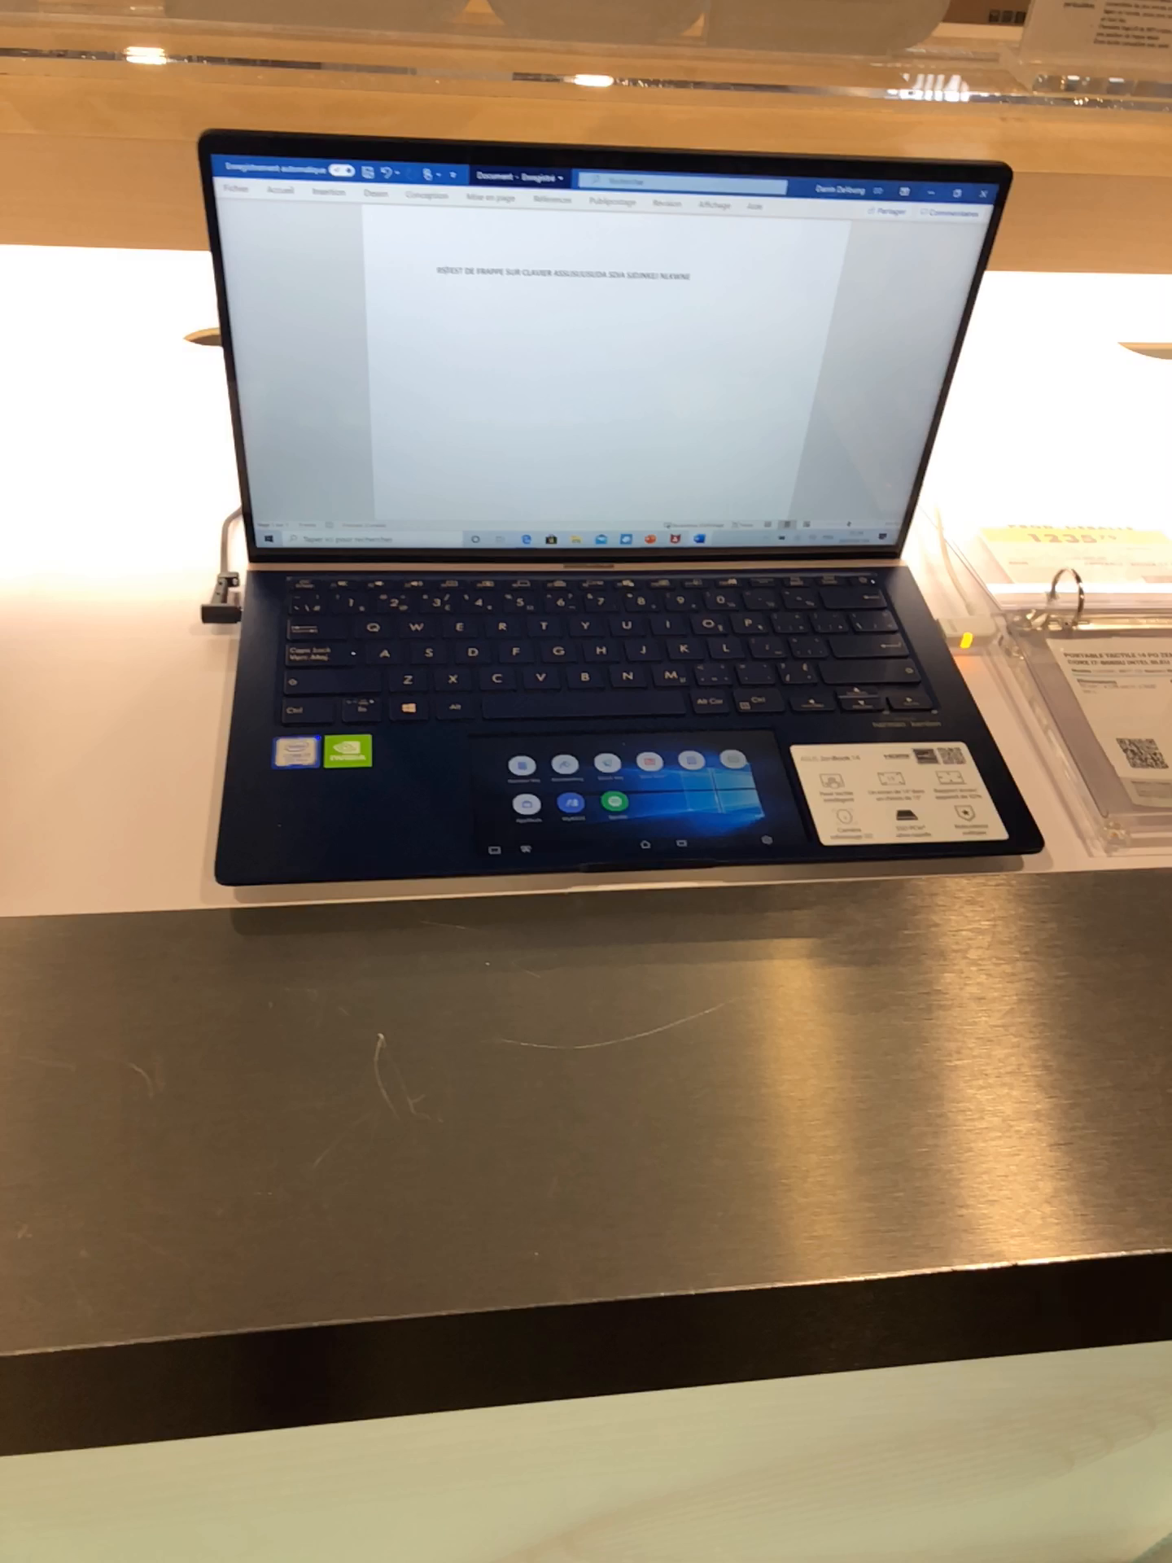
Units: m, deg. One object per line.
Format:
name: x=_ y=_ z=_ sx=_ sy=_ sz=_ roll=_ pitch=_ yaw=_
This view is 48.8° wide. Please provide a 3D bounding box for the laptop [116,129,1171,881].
laptop: x=0.018 y=-0.106 z=0.488 sx=0.317 sy=0.193 sz=0.200 roll=-2 pitch=45 yaw=-8
